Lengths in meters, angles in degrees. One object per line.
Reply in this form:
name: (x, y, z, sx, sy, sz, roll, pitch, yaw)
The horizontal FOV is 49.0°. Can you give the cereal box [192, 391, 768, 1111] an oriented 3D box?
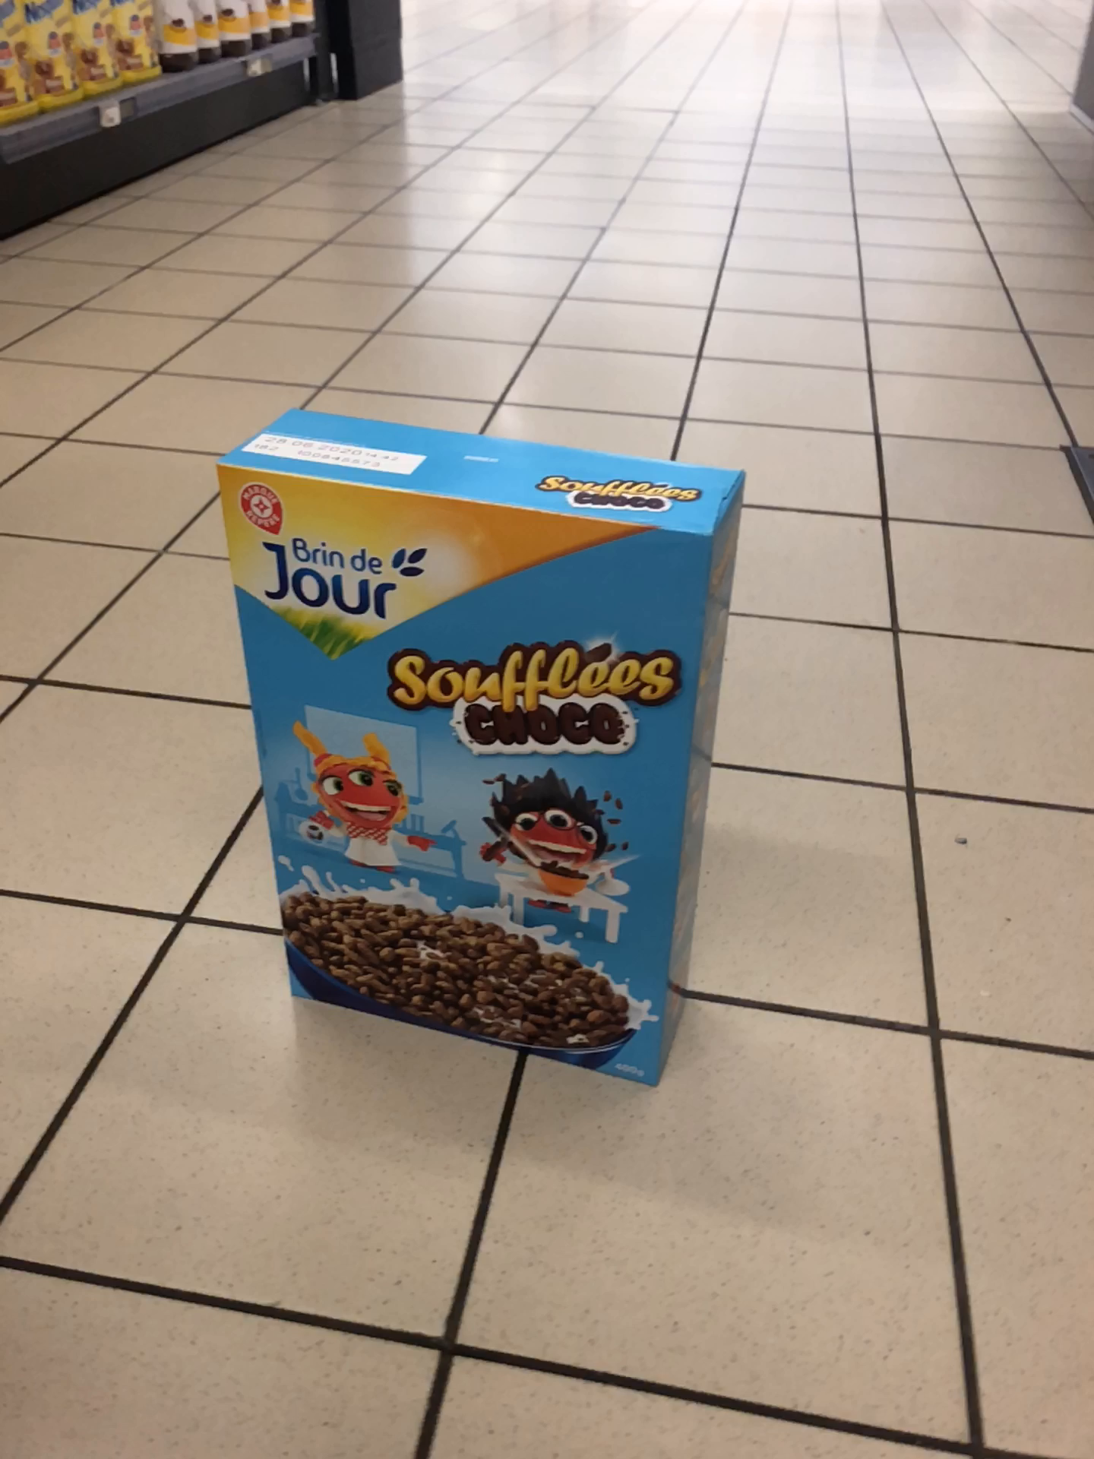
cereal box: (-0.026, 0.017, 0.532, 0.200, 0.288, 0.081, 11, 36, 14)
